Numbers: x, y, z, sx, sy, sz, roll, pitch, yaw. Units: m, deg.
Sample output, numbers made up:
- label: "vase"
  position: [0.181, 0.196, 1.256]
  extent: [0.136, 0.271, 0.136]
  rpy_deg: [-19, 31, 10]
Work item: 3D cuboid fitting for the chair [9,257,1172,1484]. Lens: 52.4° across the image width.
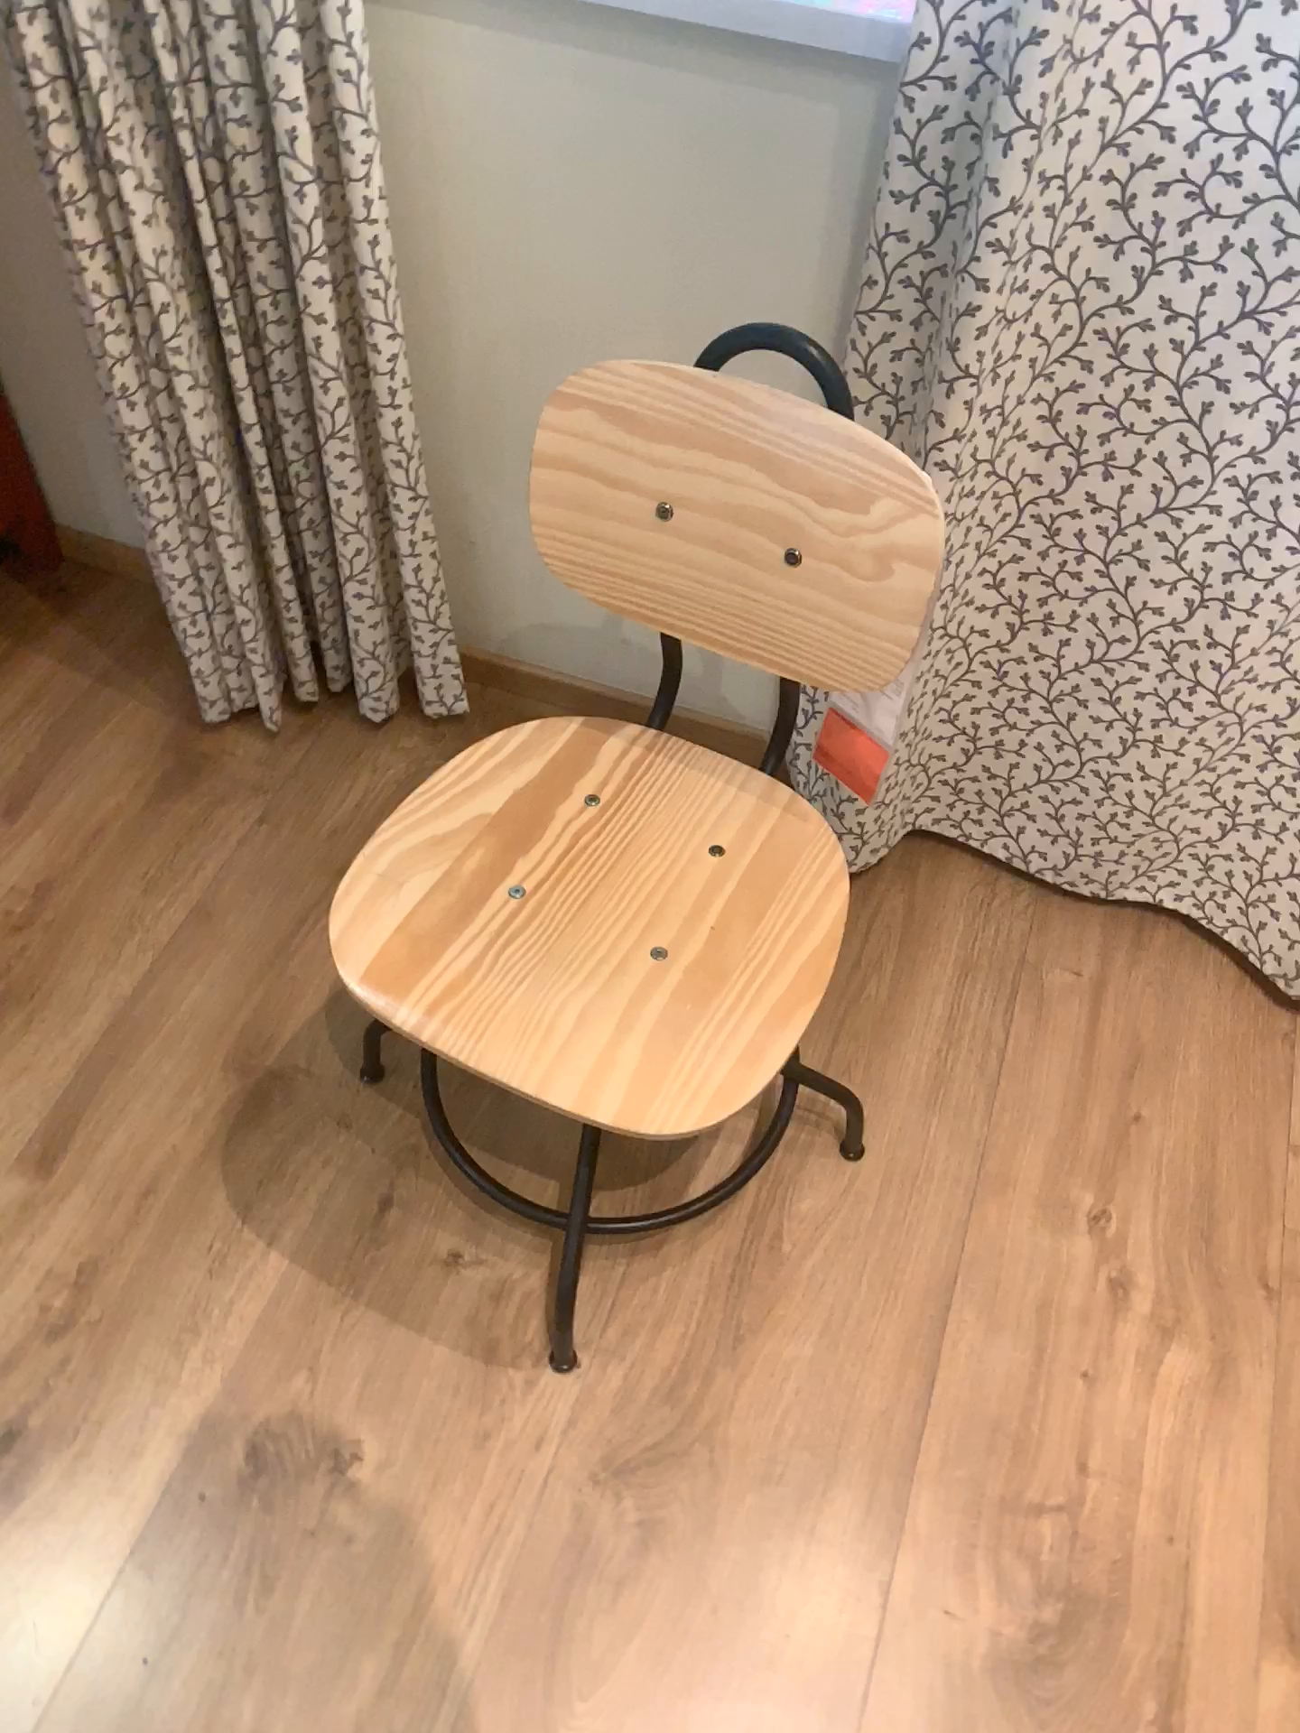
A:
- label: "chair"
  position: [0.001, 0.001, 1.066]
  extent: [0.490, 0.598, 0.632]
  rpy_deg: [23, 54, 14]
